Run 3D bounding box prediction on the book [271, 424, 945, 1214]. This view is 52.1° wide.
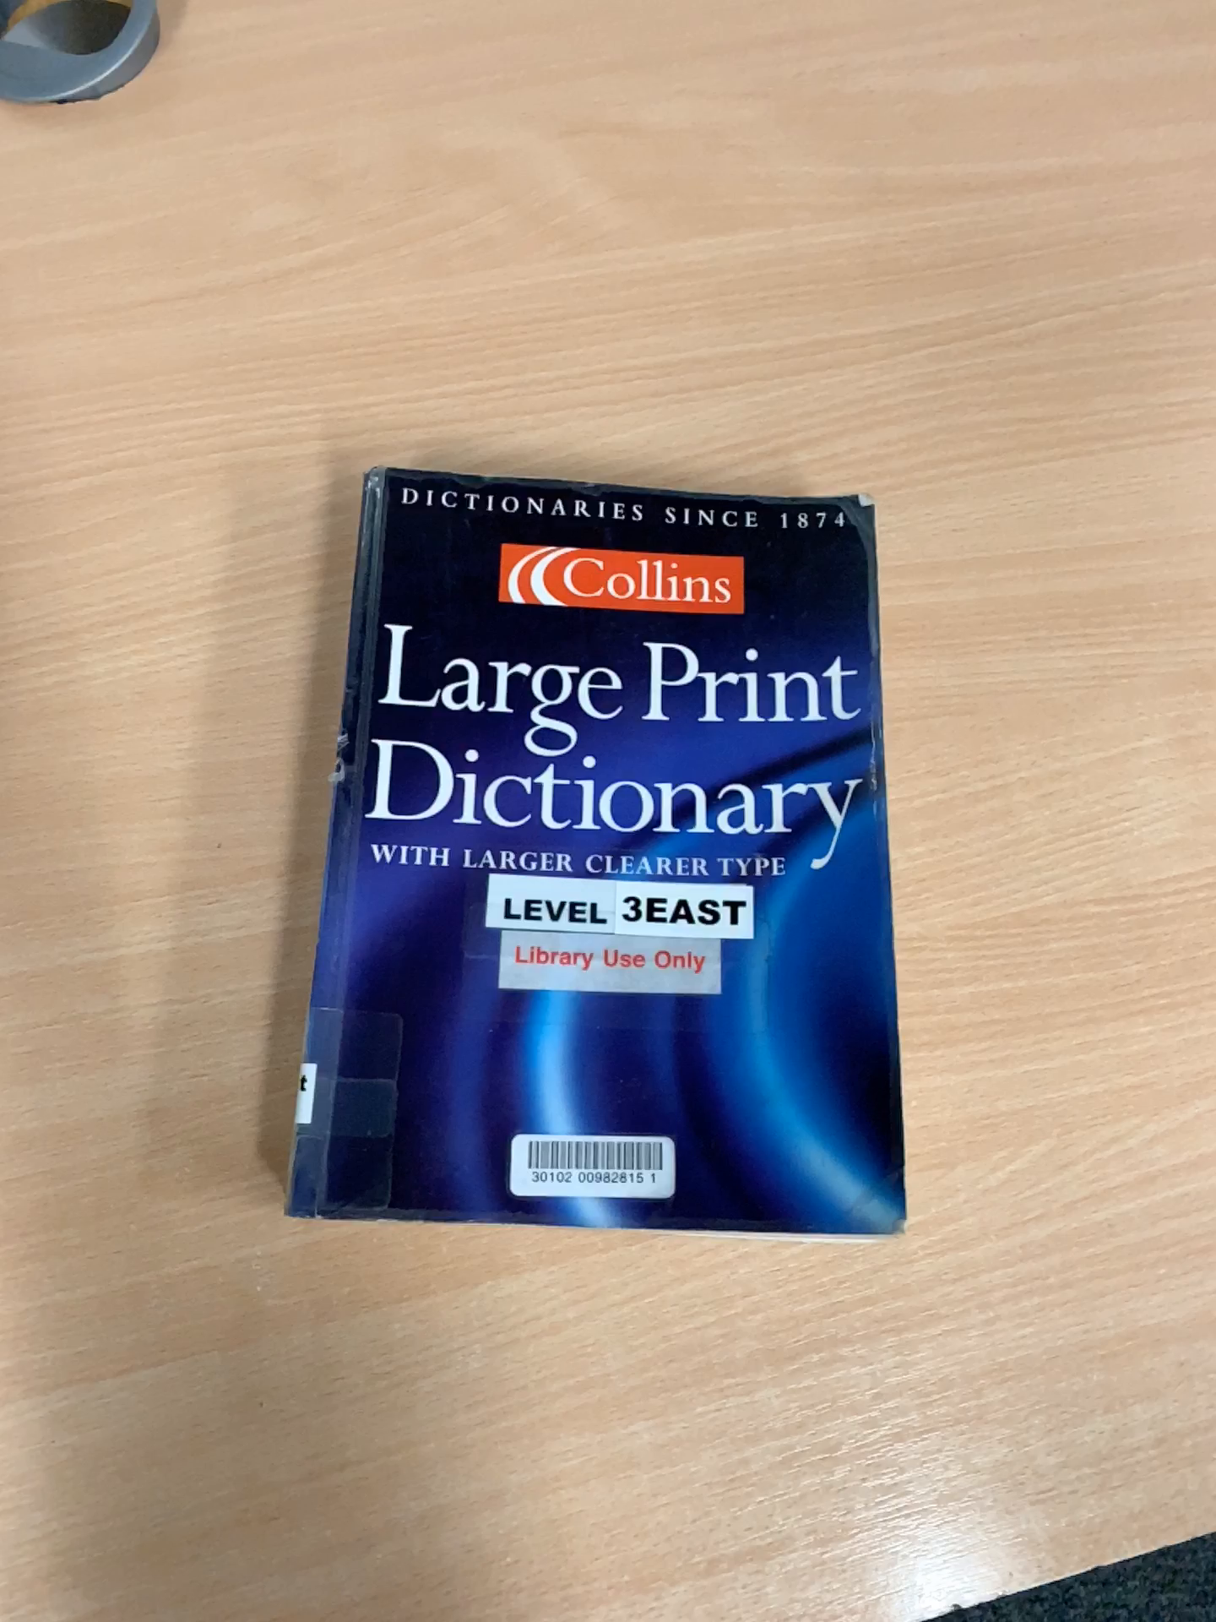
[{"bbox_3d":[0.004,-0.001,0.405,0.188,0.050,0.243,3,73,-2],"label":"book"}]
